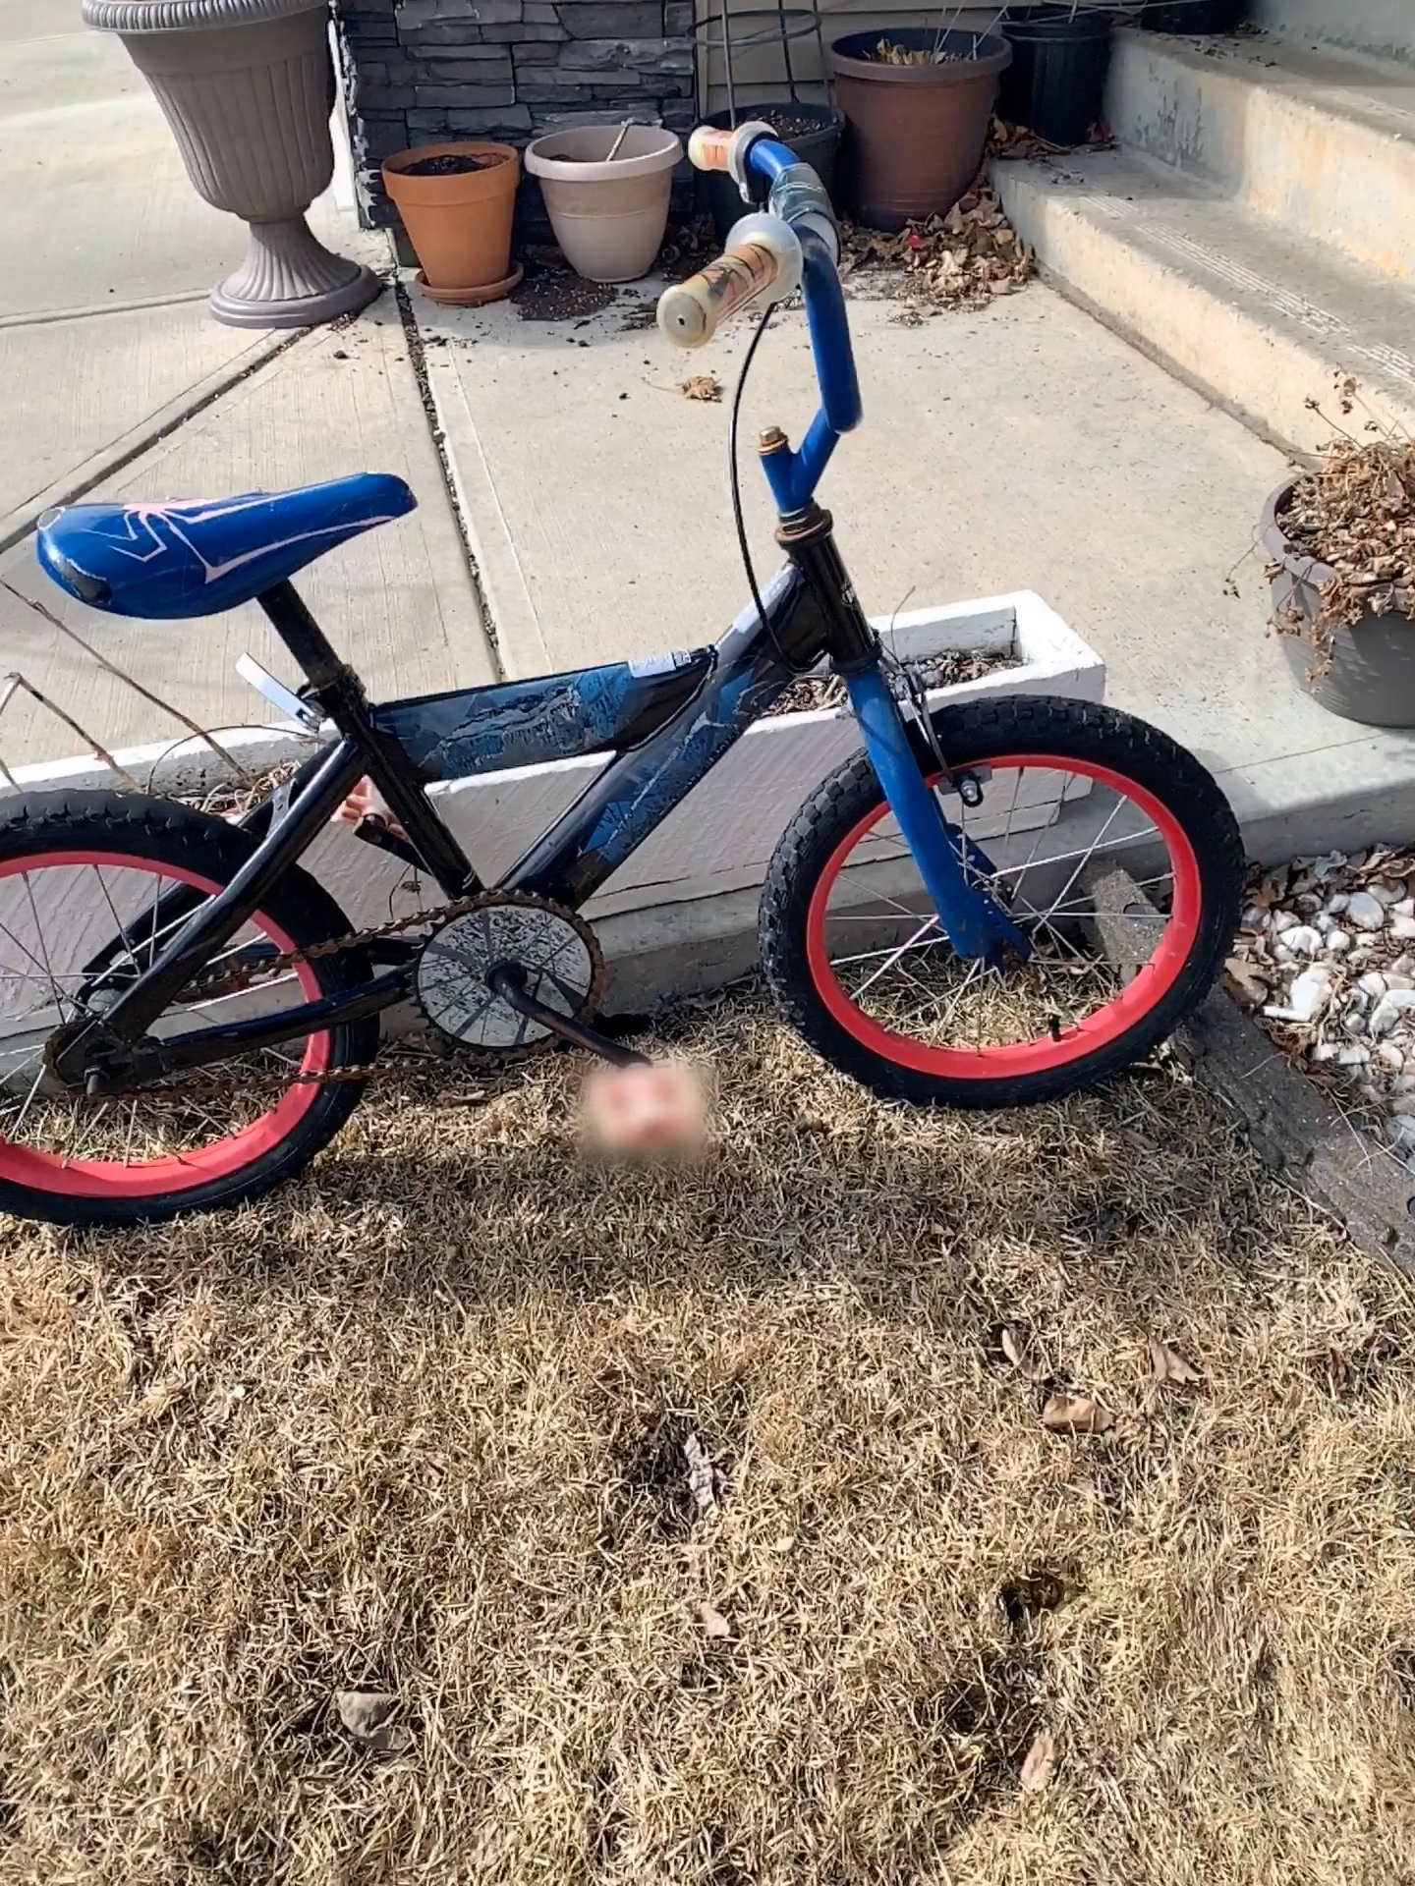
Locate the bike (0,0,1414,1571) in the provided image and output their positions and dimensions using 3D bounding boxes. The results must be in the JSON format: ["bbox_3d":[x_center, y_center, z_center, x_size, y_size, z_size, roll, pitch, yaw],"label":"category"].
[{"bbox_3d":[-0.108,-0.120,0.890,1.023,0.728,0.538,-8,41,-1],"label":"bike"}]
